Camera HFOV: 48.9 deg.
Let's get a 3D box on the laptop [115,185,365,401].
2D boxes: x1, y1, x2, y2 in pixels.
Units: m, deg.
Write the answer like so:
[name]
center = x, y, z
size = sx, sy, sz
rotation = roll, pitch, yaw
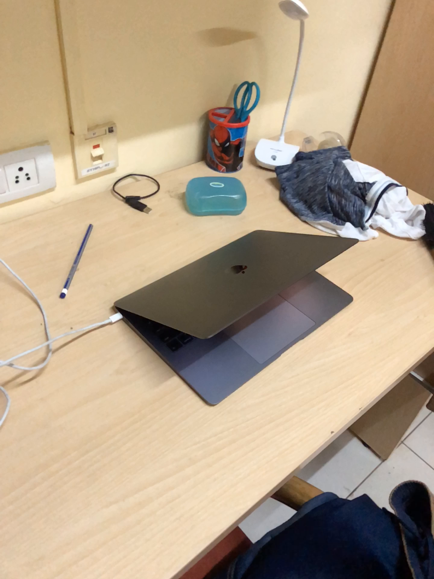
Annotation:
[laptop]
center = 0.036, -0.016, 0.676
size = 0.295, 0.094, 0.193
rotation = -30, 56, -33
